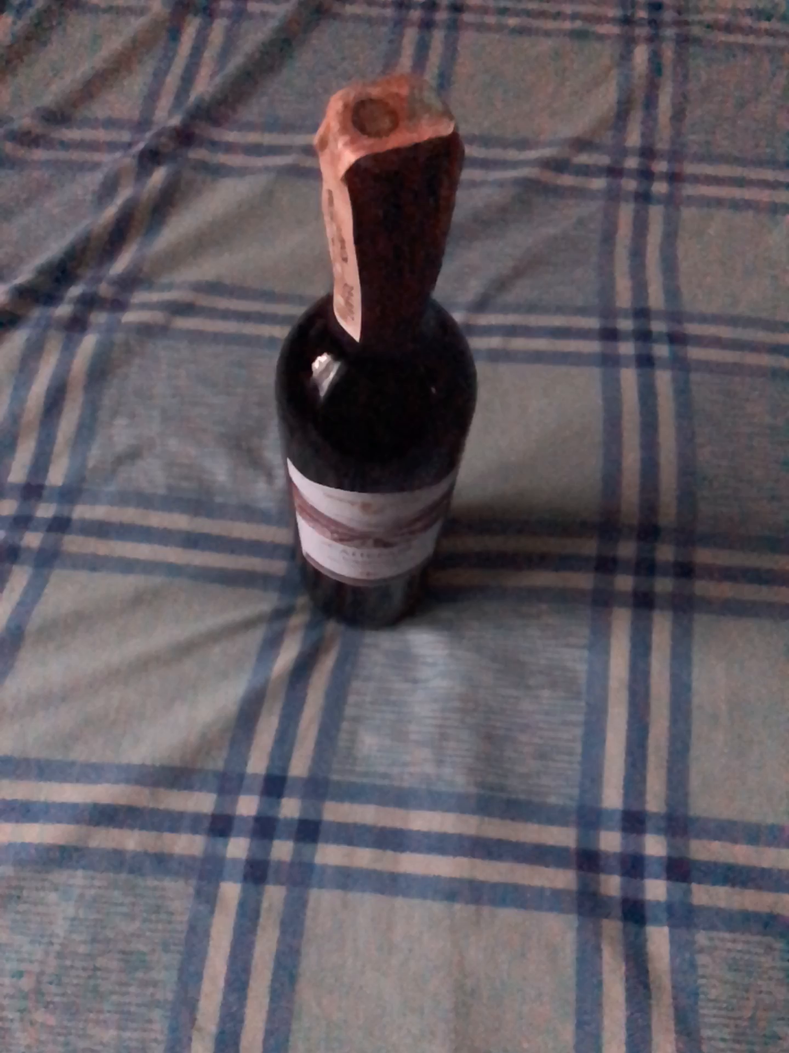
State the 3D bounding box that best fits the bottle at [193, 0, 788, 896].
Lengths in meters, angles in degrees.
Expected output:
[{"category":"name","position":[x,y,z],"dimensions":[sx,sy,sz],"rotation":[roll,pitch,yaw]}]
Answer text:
[{"category":"bottle","position":[0.033,0.027,0.225],"dimensions":[0.081,0.306,0.071],"rotation":[29,66,13]}]
